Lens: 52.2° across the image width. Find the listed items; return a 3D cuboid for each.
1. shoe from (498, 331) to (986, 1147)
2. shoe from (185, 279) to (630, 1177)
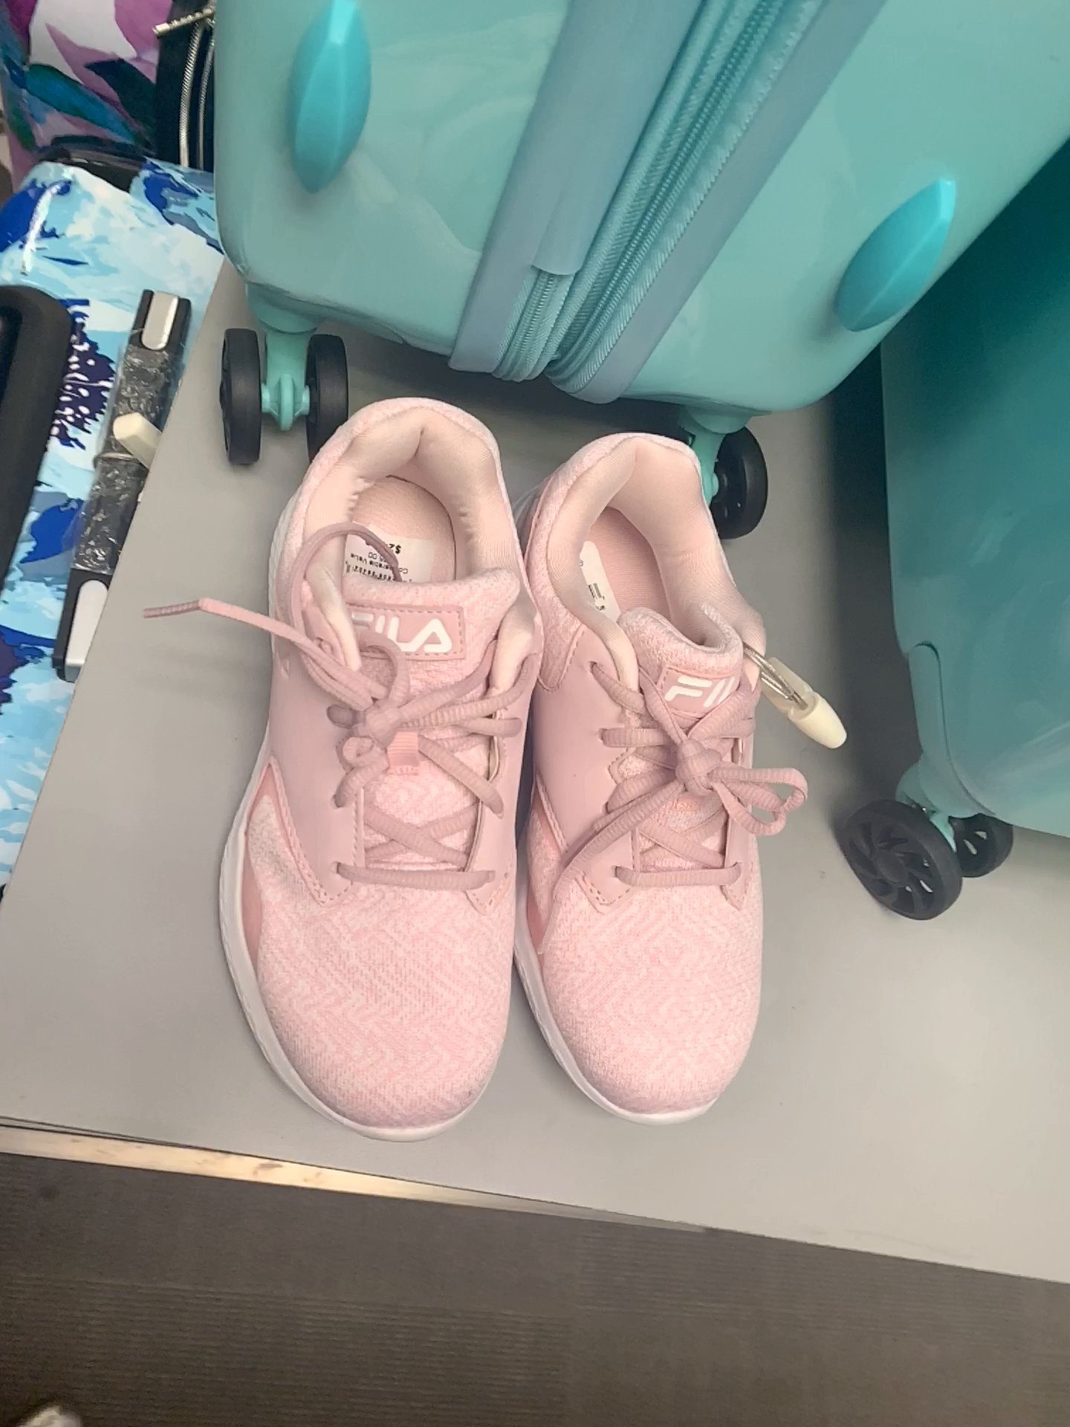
[{"bbox_3d":[0.055,0.012,0.381,0.107,0.104,0.251,3,70,-16],"label":"shoe"},{"bbox_3d":[-0.047,0.007,0.351,0.107,0.104,0.251,3,70,-16],"label":"shoe"}]
